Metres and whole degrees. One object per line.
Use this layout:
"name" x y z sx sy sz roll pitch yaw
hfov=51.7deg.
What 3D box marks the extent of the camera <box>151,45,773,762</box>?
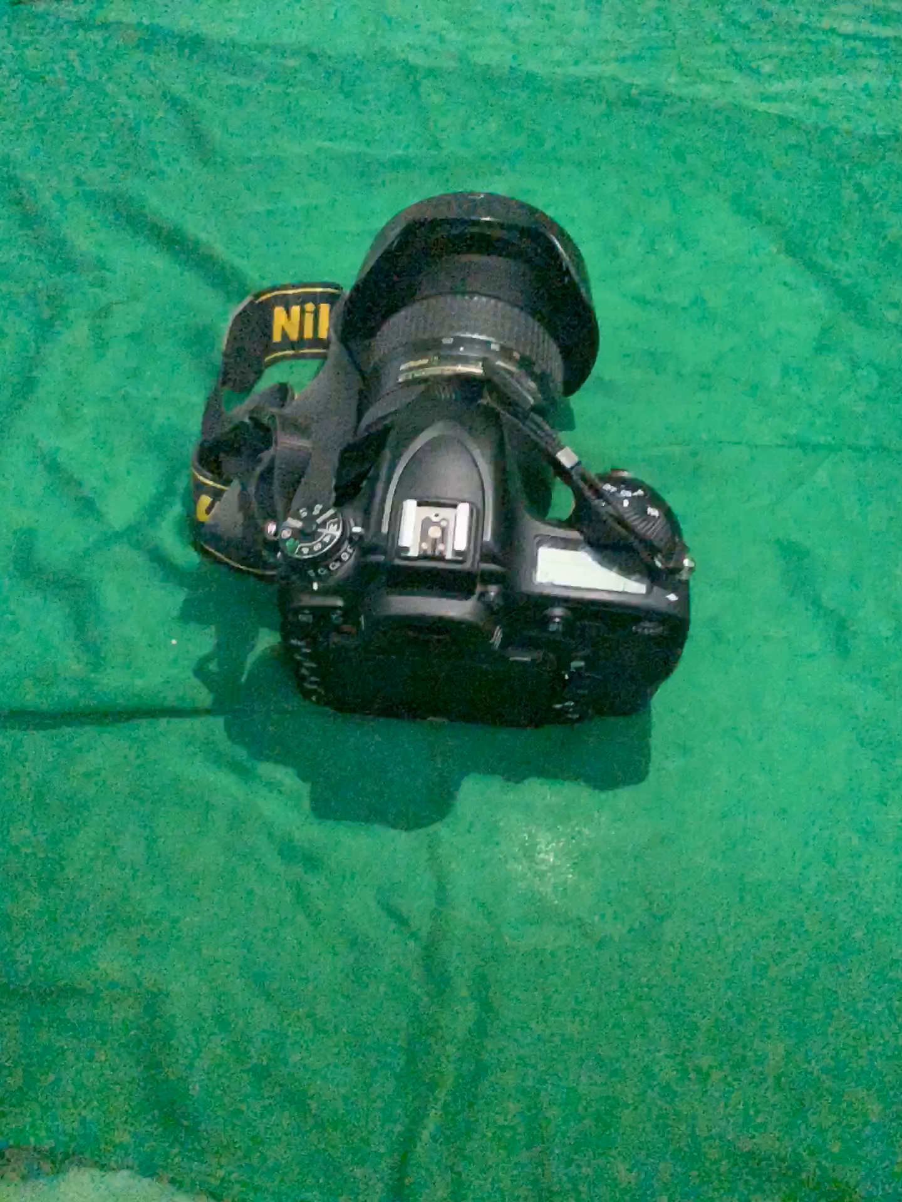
"camera" 0.015 -0.097 0.376 0.170 0.100 0.291 4 56 3
